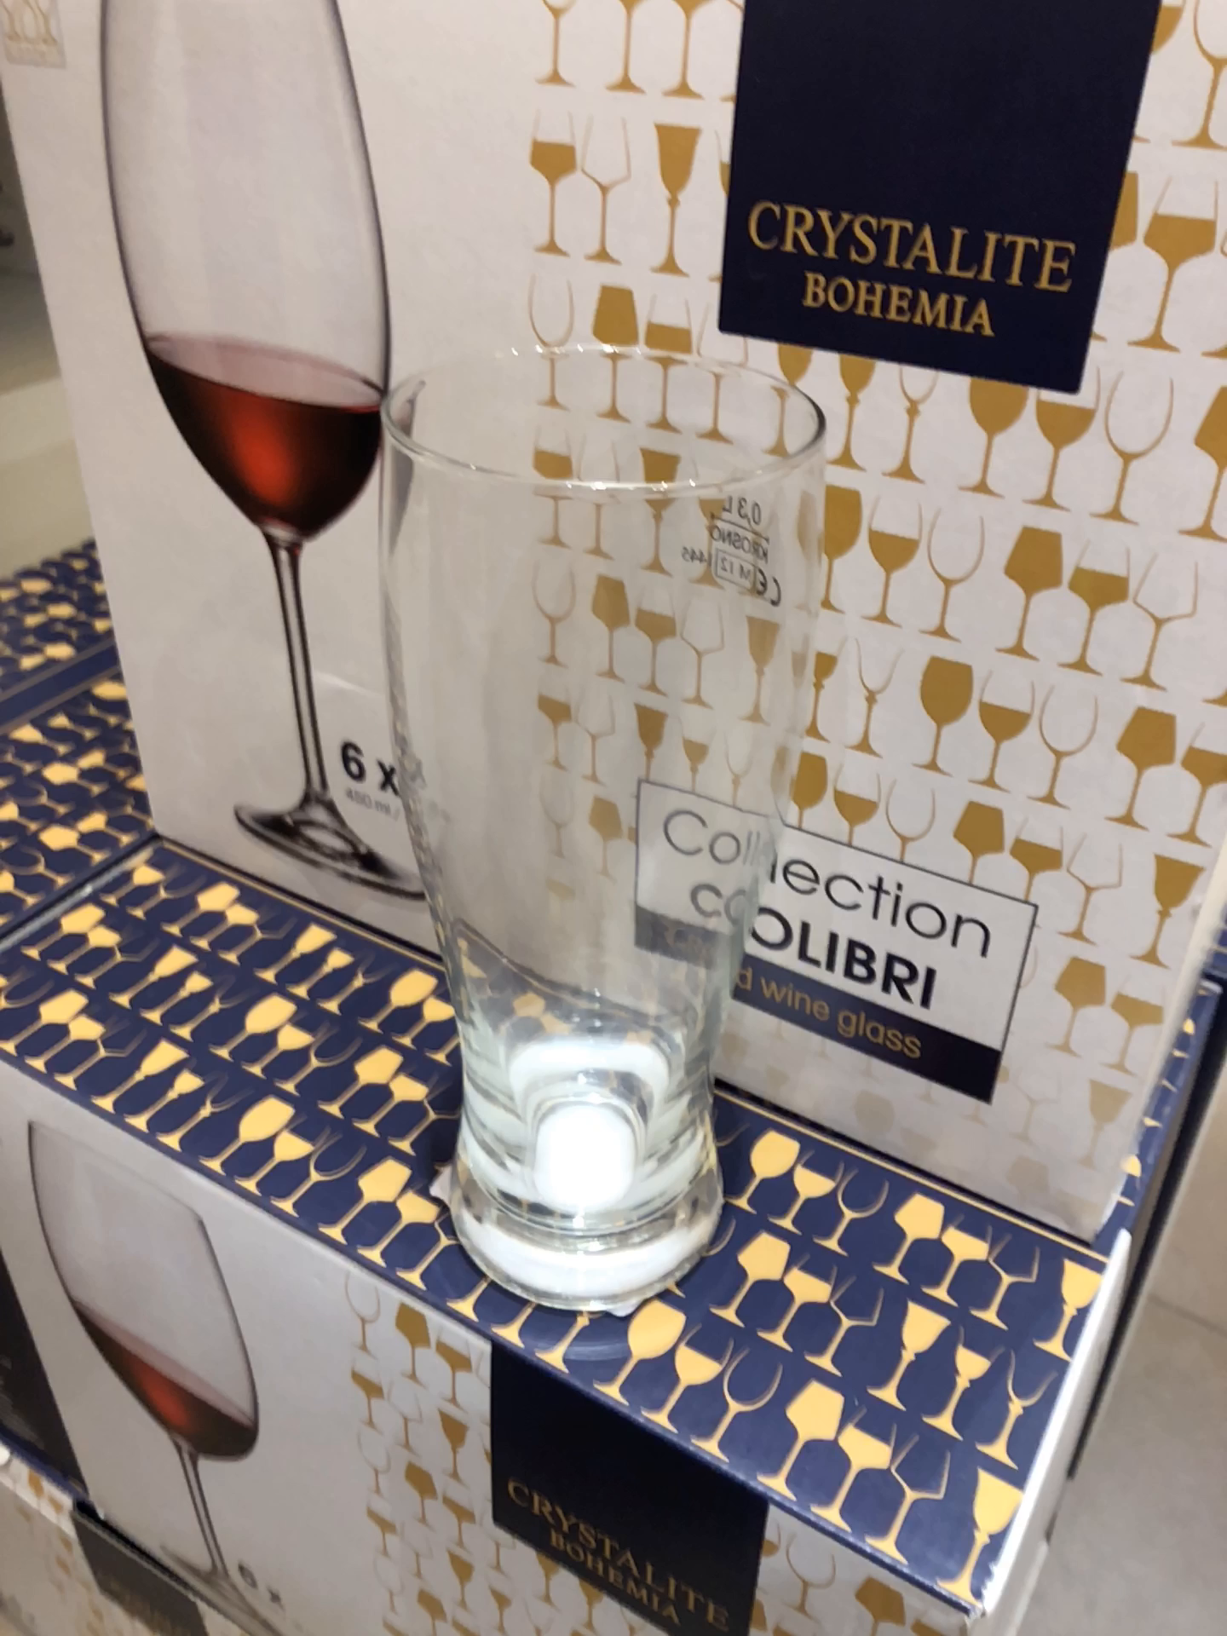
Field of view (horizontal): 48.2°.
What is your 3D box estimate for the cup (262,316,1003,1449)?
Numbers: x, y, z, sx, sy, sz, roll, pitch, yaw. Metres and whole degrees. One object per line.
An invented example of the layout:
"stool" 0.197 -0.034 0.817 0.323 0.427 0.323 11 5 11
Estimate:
"cup" 0.003 0.013 0.256 0.080 0.179 0.080 1 34 0
